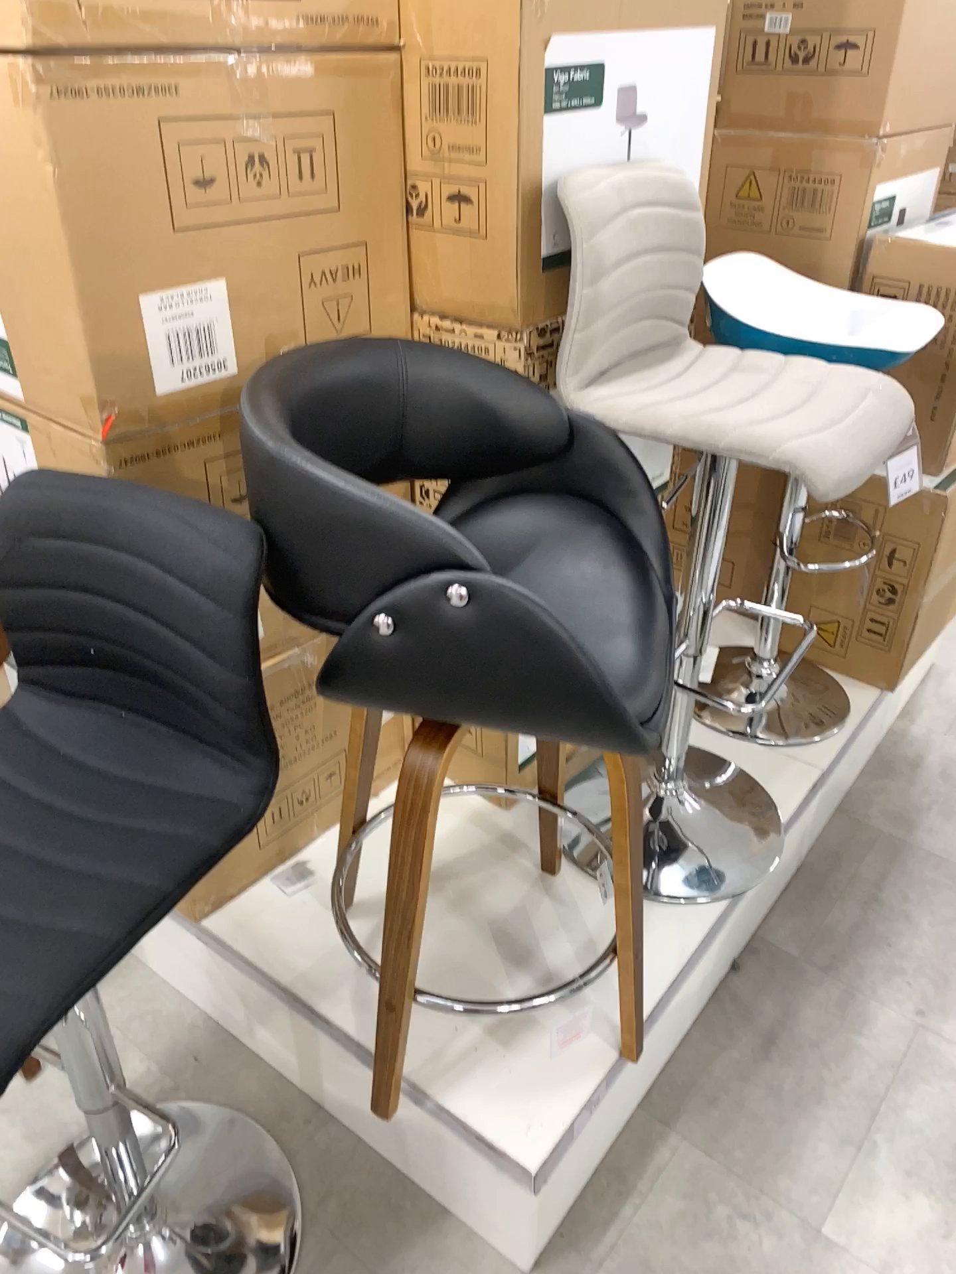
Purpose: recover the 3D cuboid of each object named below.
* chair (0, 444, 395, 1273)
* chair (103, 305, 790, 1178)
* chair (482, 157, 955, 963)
[{"bbox_3d":[-0.465,0.378,1.092,0.485,1.017,0.469,14,33,28],"label":"chair"},{"bbox_3d":[0.004,0.126,1.243,0.546,0.897,0.570,5,34,7],"label":"chair"},{"bbox_3d":[0.325,-0.123,1.383,0.438,0.968,0.437,21,34,30],"label":"chair"}]
